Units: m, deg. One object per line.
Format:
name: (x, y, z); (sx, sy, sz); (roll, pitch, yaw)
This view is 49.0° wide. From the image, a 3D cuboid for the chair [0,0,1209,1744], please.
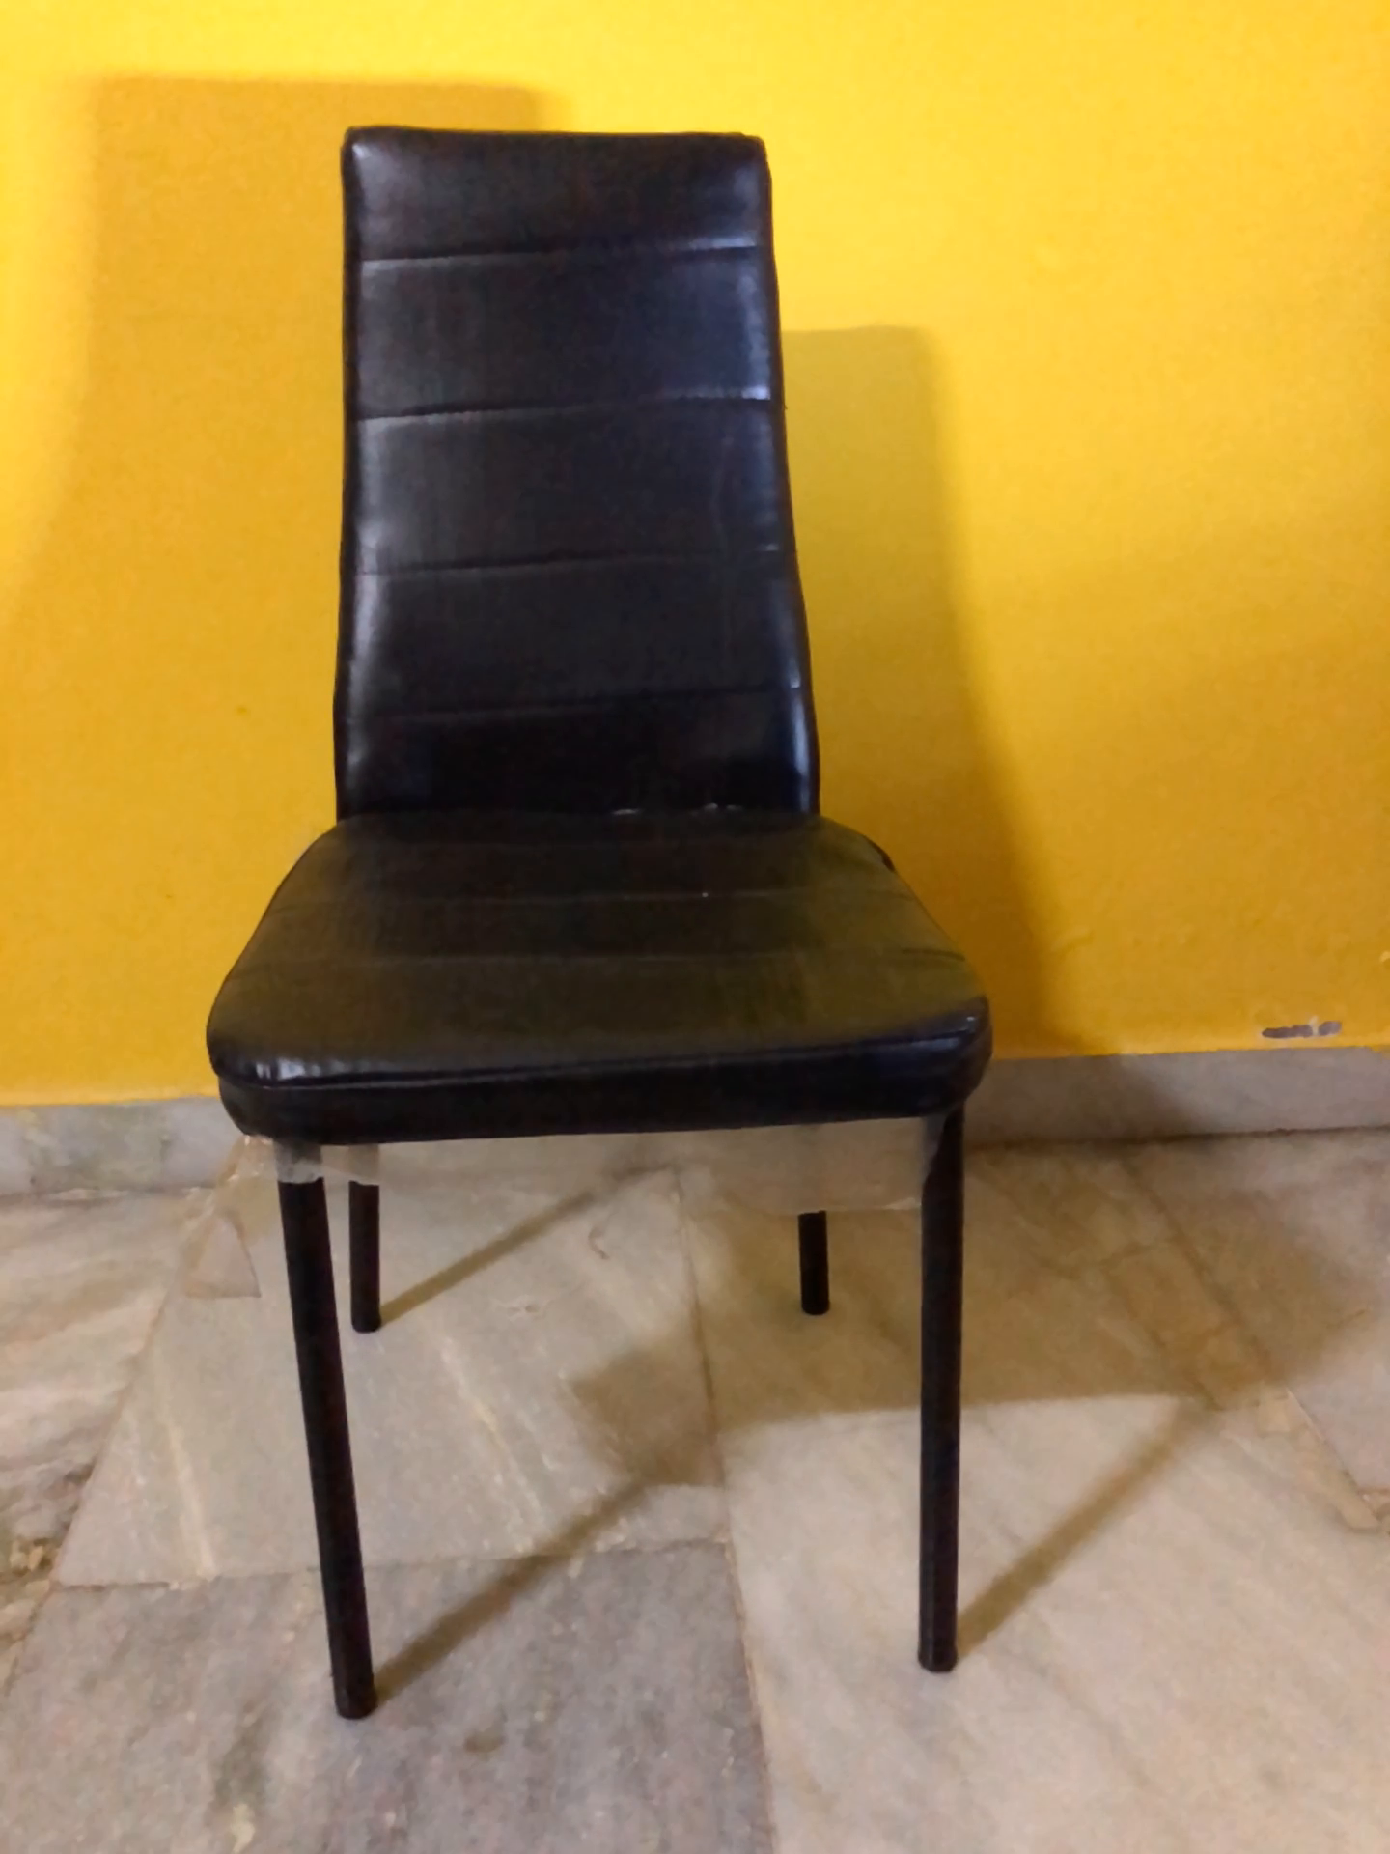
chair: (-0.063, -0.075, 0.956); (0.480, 0.905, 0.533); (-2, 20, -4)
